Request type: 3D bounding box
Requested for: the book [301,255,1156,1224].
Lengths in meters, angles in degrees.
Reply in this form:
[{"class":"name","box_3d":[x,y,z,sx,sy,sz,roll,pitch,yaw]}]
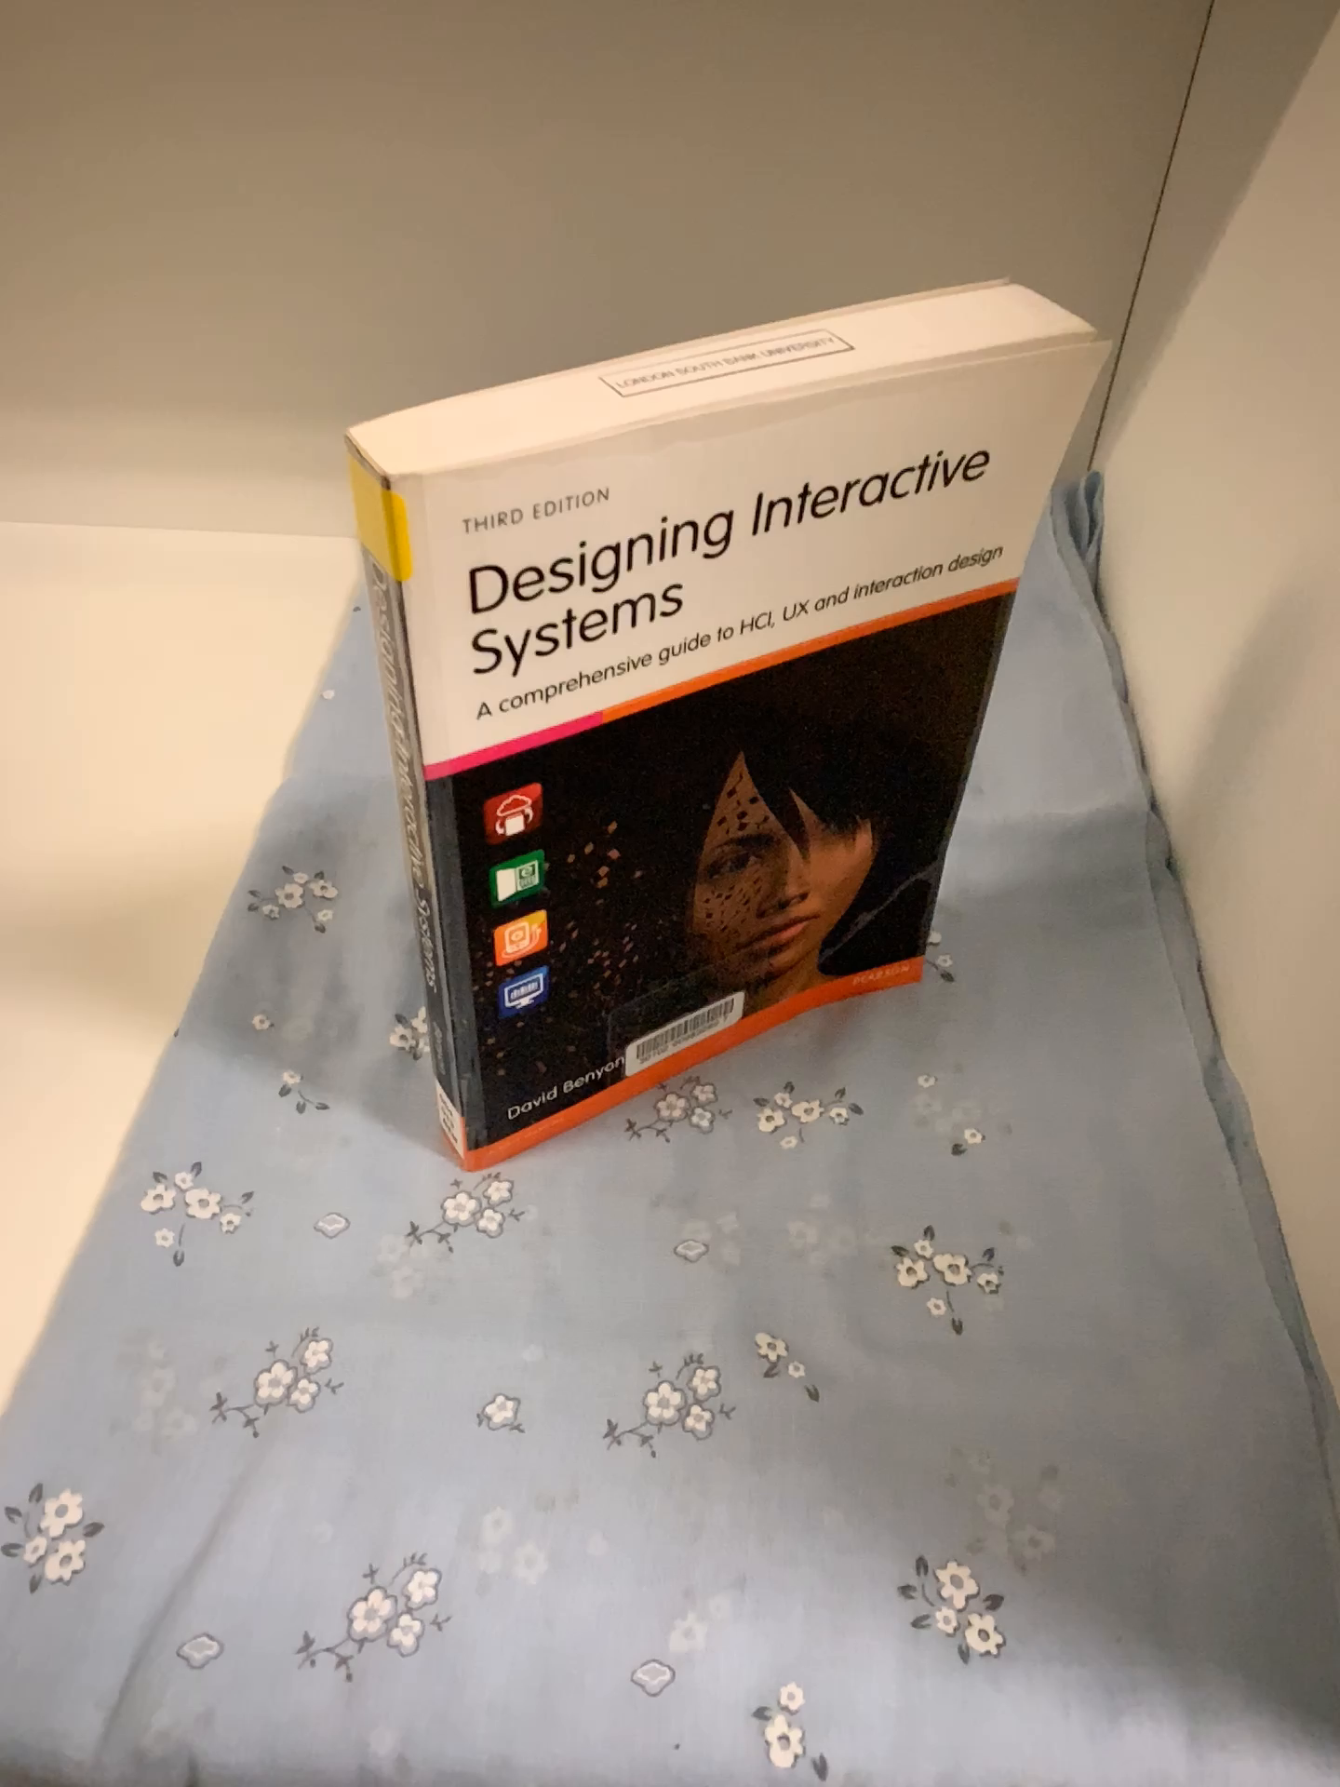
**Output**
[{"class":"book","box_3d":[0.016,-0.033,0.420,0.216,0.269,0.041,-21,50,-23]}]
